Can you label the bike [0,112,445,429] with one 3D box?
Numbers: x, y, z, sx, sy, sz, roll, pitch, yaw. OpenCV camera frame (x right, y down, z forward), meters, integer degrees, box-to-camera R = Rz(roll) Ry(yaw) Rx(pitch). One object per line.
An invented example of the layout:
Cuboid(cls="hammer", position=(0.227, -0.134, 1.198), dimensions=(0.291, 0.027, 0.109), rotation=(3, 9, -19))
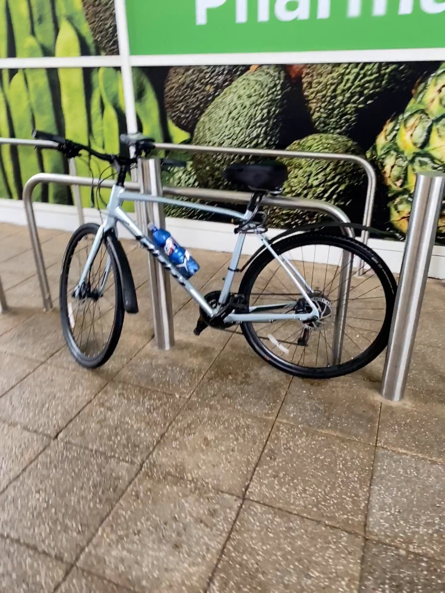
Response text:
Cuboid(cls="bike", position=(-0.041, -0.183, 1.812), dimensions=(1.461, 0.962, 0.609), rotation=(6, 27, 13))
